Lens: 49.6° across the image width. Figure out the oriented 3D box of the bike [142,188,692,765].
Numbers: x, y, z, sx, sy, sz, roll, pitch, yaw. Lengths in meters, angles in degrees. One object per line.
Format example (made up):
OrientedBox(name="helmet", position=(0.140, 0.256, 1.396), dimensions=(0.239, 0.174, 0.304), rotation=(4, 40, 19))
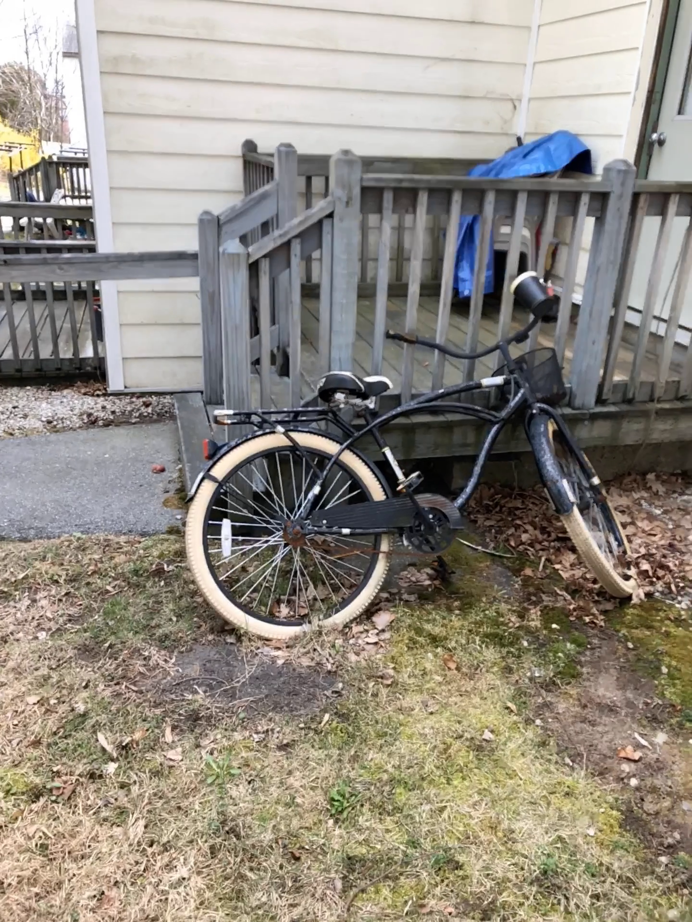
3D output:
OrientedBox(name="bike", position=(0.430, -0.084, 2.414), dimensions=(1.612, 1.314, 0.941), rotation=(-12, 27, -24))
